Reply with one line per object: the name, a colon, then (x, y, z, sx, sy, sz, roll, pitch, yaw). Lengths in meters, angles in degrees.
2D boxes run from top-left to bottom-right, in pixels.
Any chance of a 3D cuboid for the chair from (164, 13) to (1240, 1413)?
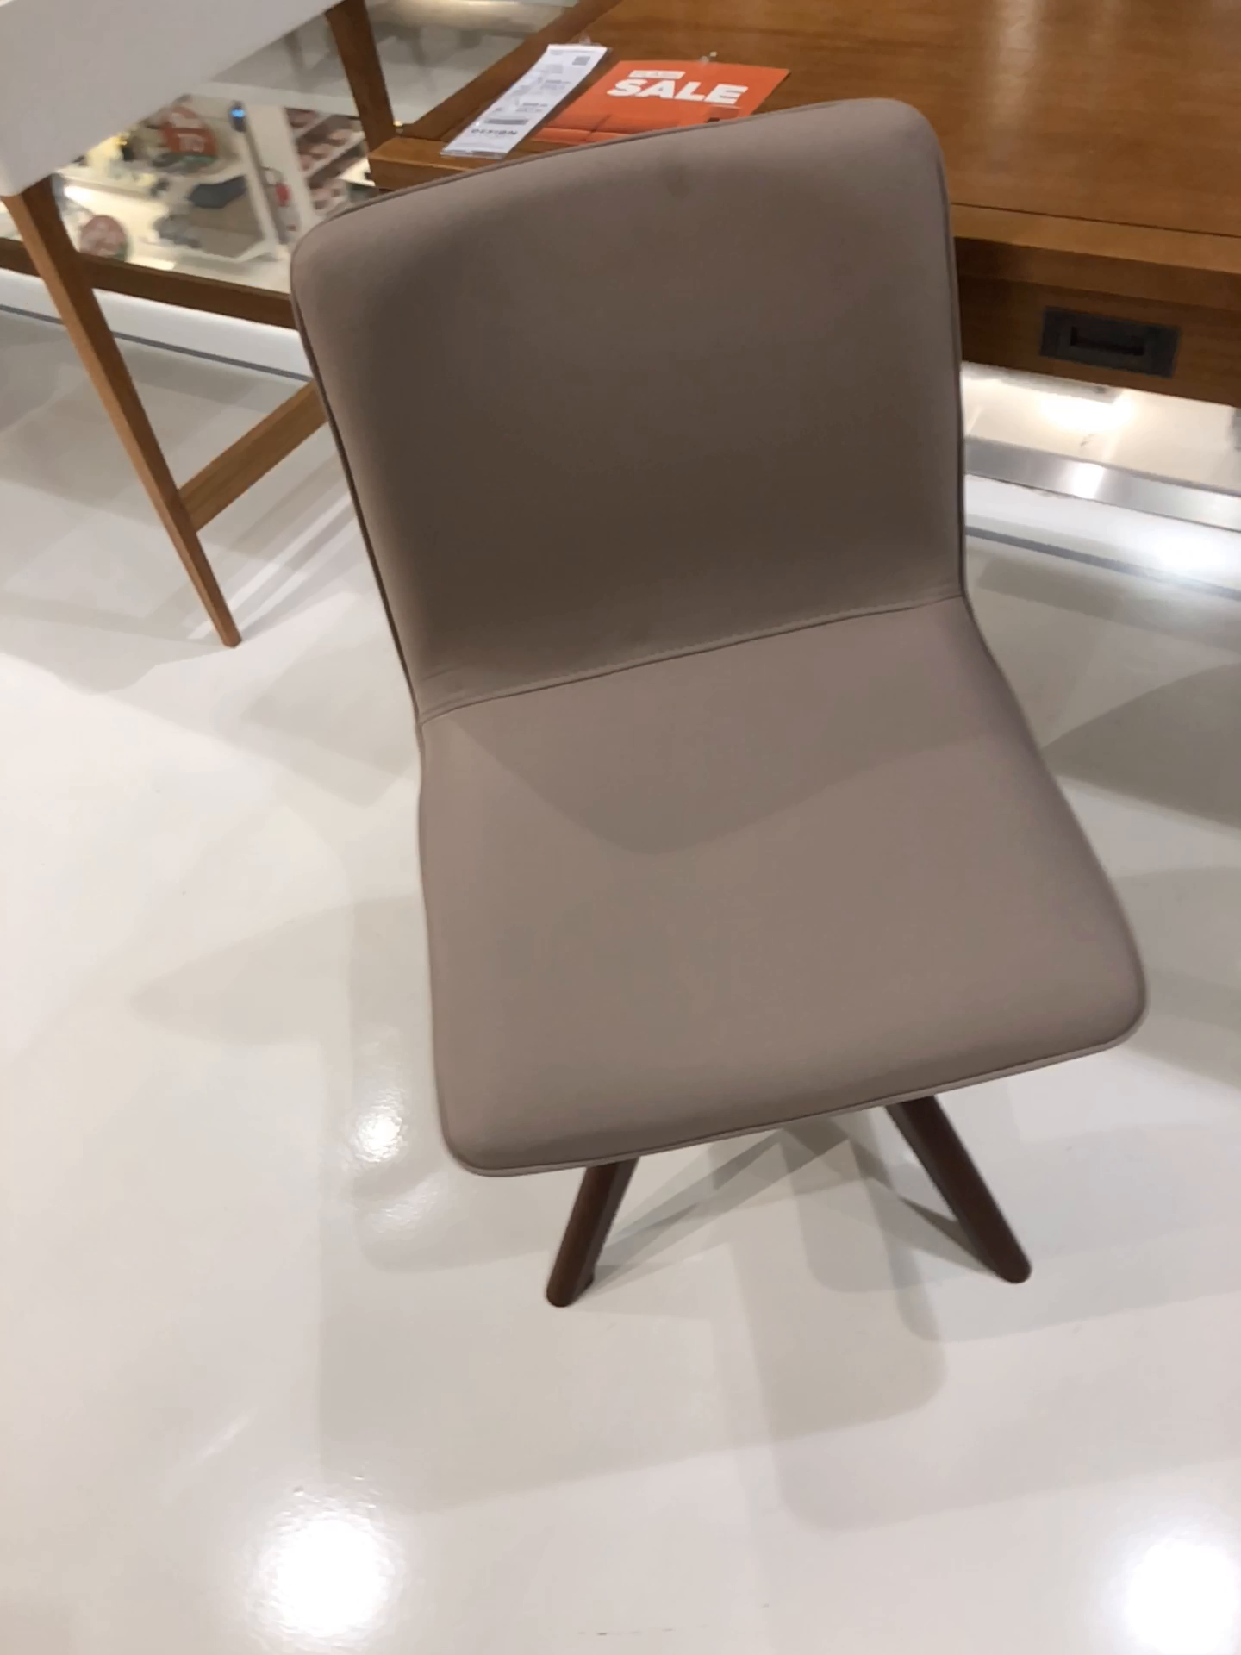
chair: (0.085, -0.027, 1.046, 0.540, 0.834, 0.533, -13, 47, -2)
